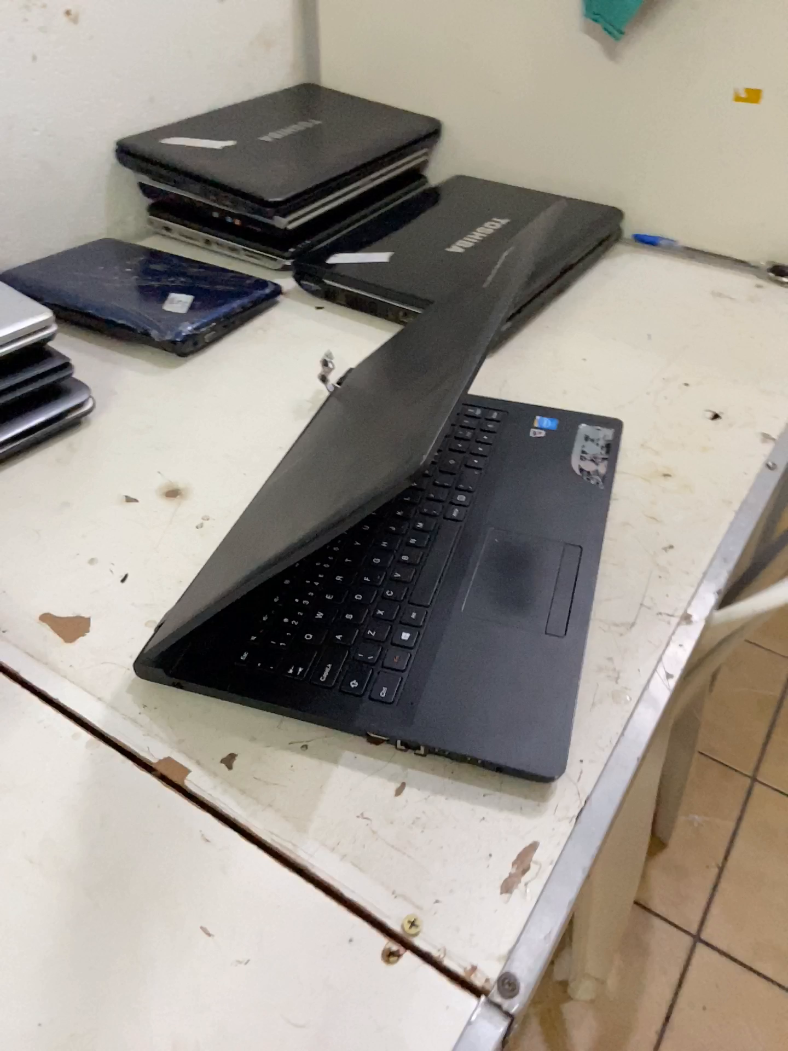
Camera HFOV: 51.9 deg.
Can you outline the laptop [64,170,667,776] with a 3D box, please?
[{"bbox_3d":[0.022,-0.076,0.548,0.257,0.189,0.378,11,41,13],"label":"laptop"}]
